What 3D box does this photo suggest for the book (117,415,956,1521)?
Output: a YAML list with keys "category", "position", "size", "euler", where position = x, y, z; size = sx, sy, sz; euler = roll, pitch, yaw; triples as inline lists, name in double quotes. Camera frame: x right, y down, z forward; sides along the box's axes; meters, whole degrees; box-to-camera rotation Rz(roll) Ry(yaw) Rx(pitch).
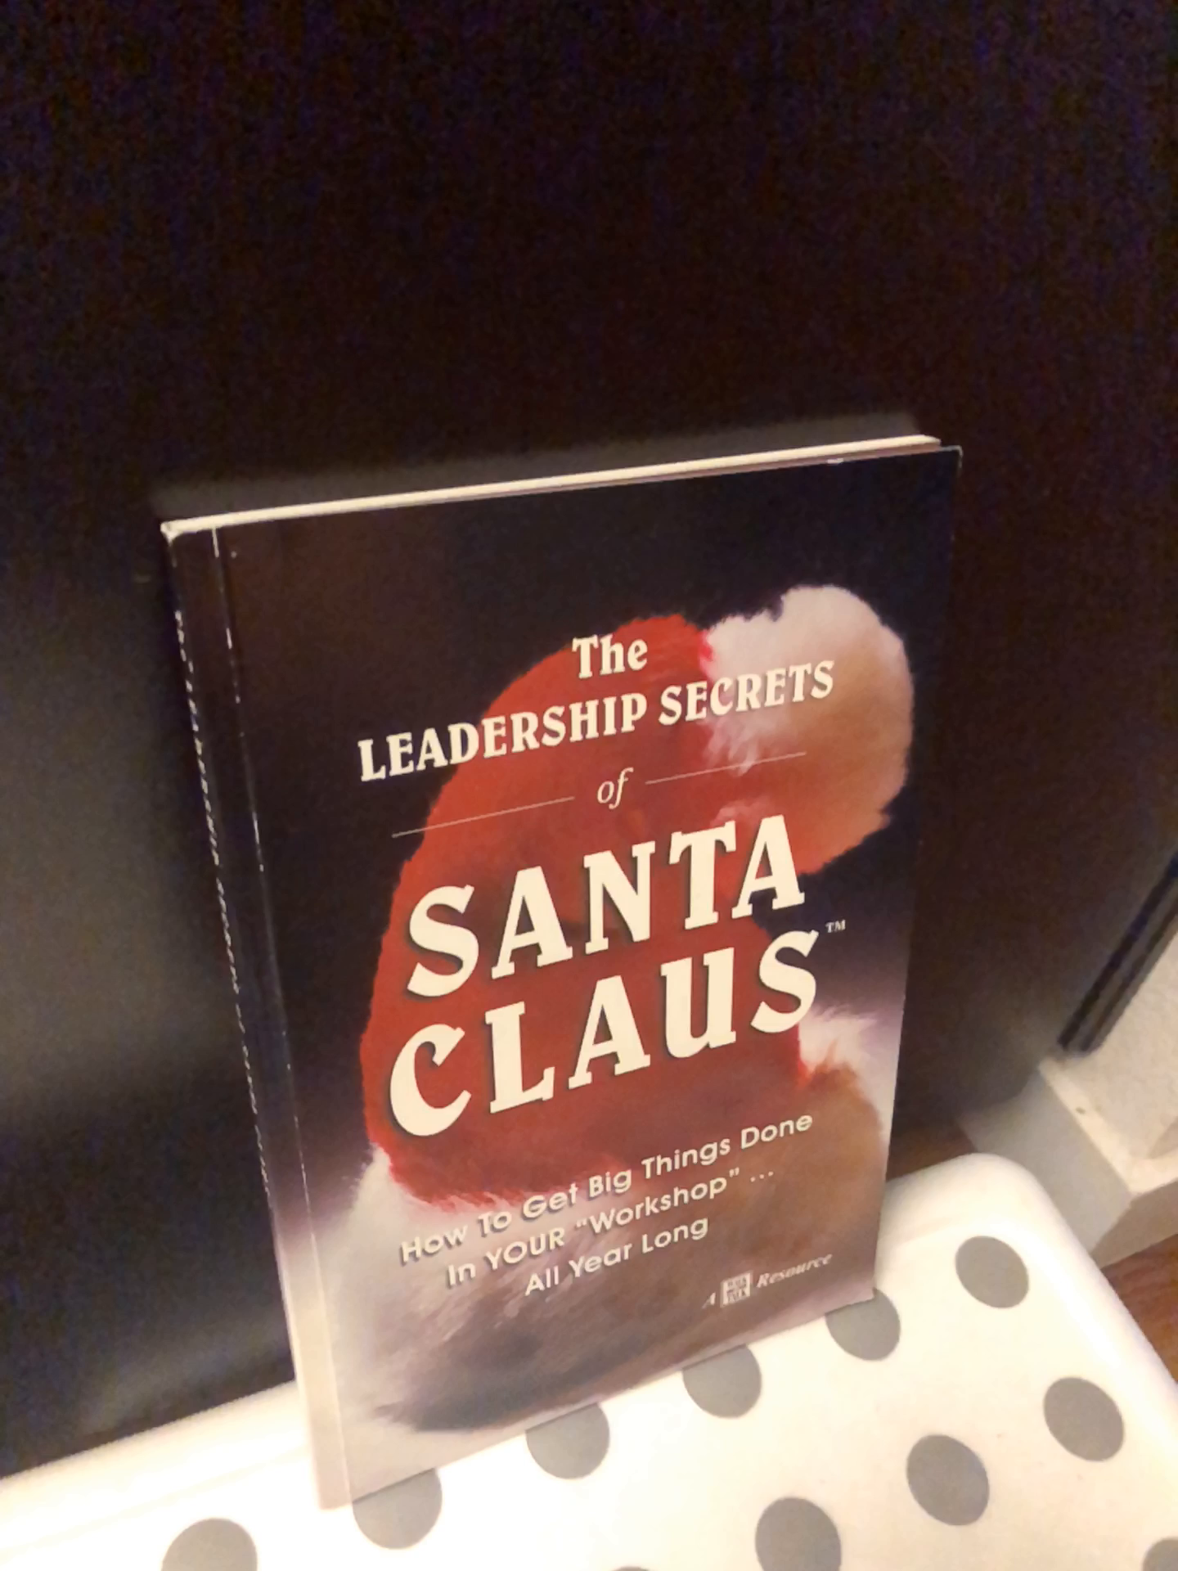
- category: "book"
  position: [0.002, 0.044, 0.281]
  size: [0.160, 0.225, 0.010]
  euler: [-12, 26, -23]
